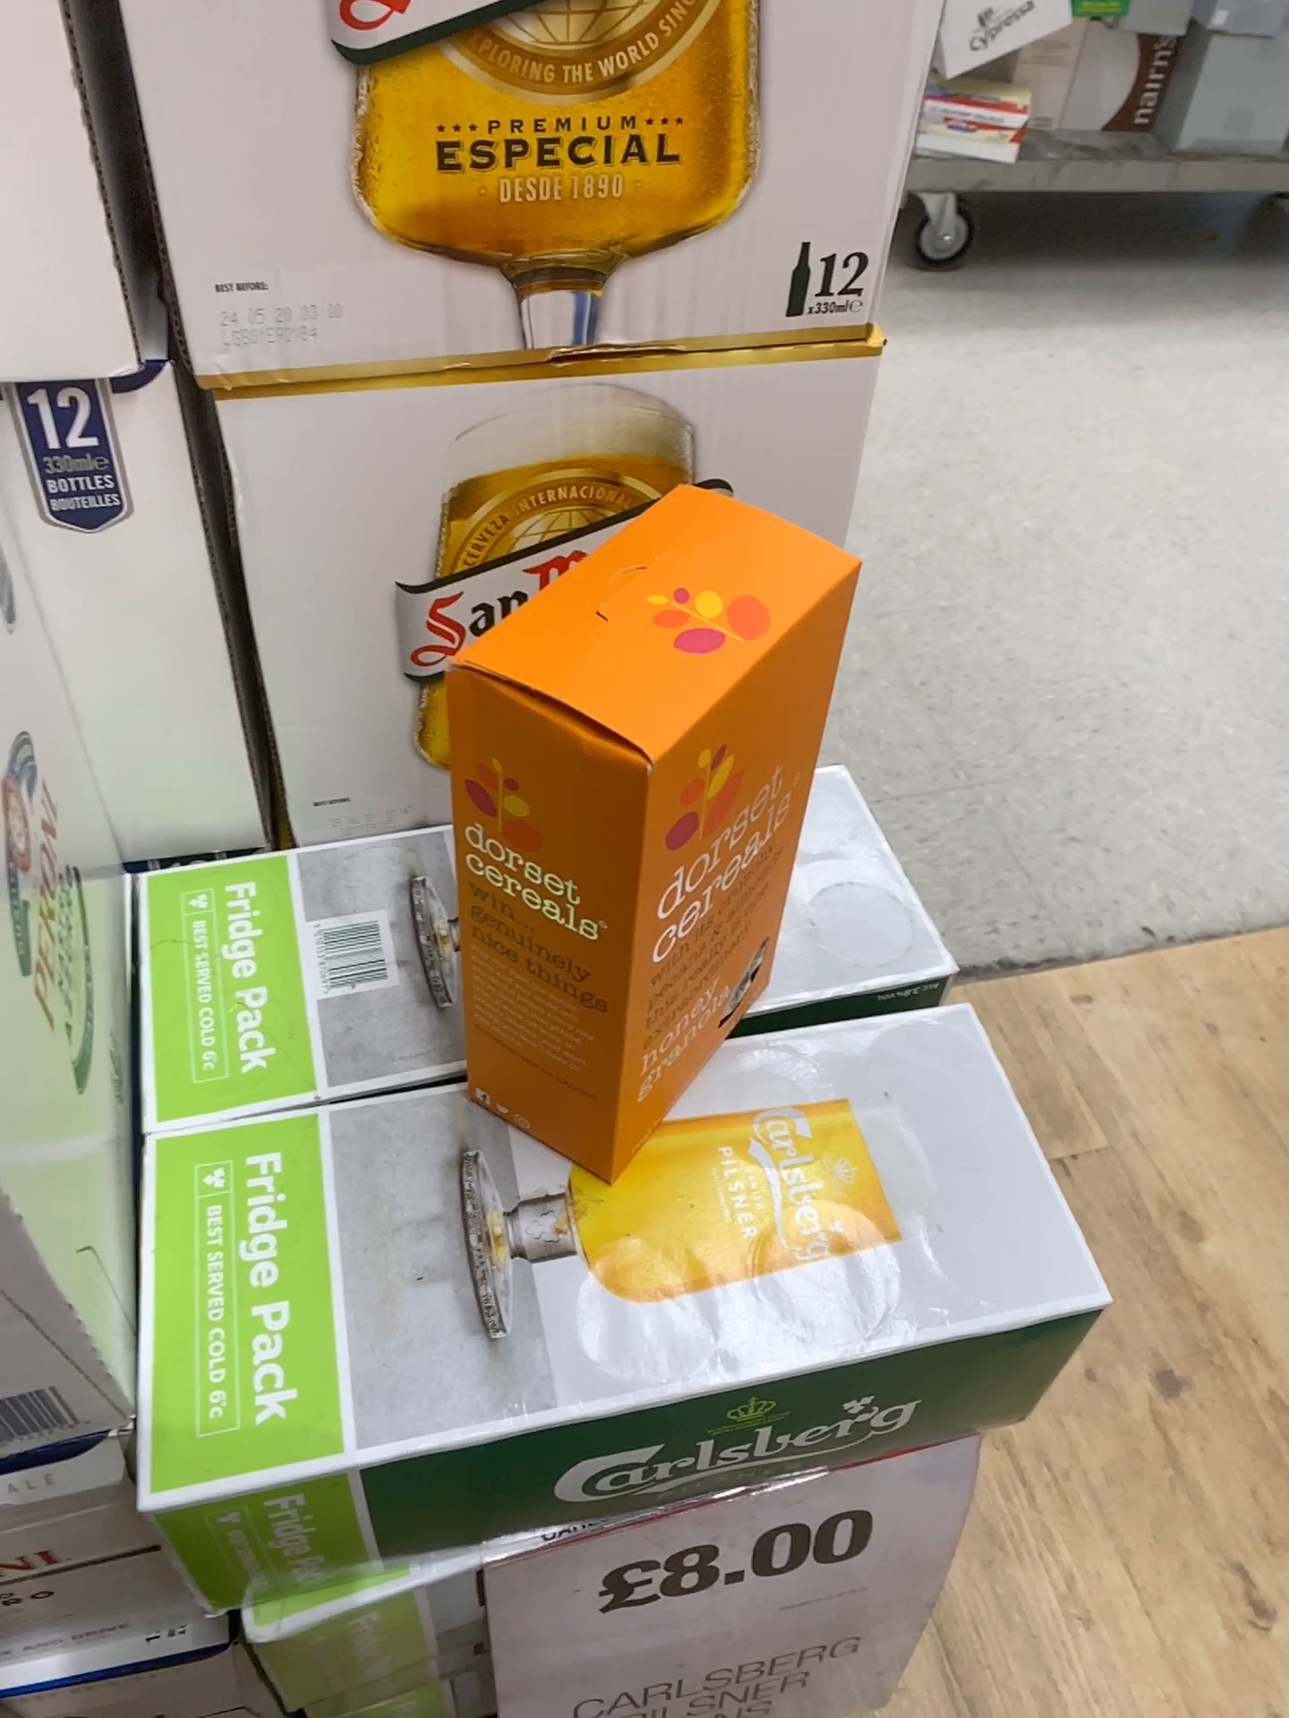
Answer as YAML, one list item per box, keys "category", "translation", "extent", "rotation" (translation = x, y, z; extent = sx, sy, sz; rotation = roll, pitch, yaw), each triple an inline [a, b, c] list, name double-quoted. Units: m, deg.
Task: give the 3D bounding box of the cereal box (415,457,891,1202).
- category: "cereal box"
  translation: [0.000, -0.002, 0.419]
  extent: [0.070, 0.198, 0.121]
  rotation: [29, 52, 20]
